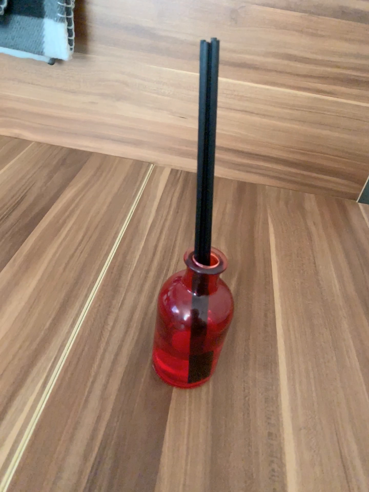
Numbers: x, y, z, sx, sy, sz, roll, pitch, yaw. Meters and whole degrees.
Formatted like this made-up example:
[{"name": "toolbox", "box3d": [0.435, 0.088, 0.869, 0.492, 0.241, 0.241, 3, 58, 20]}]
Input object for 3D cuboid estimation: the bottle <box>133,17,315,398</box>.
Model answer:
[{"name": "bottle", "box3d": [0.010, 0.001, 0.238, 0.060, 0.239, 0.050, 14, 38, 5]}]
